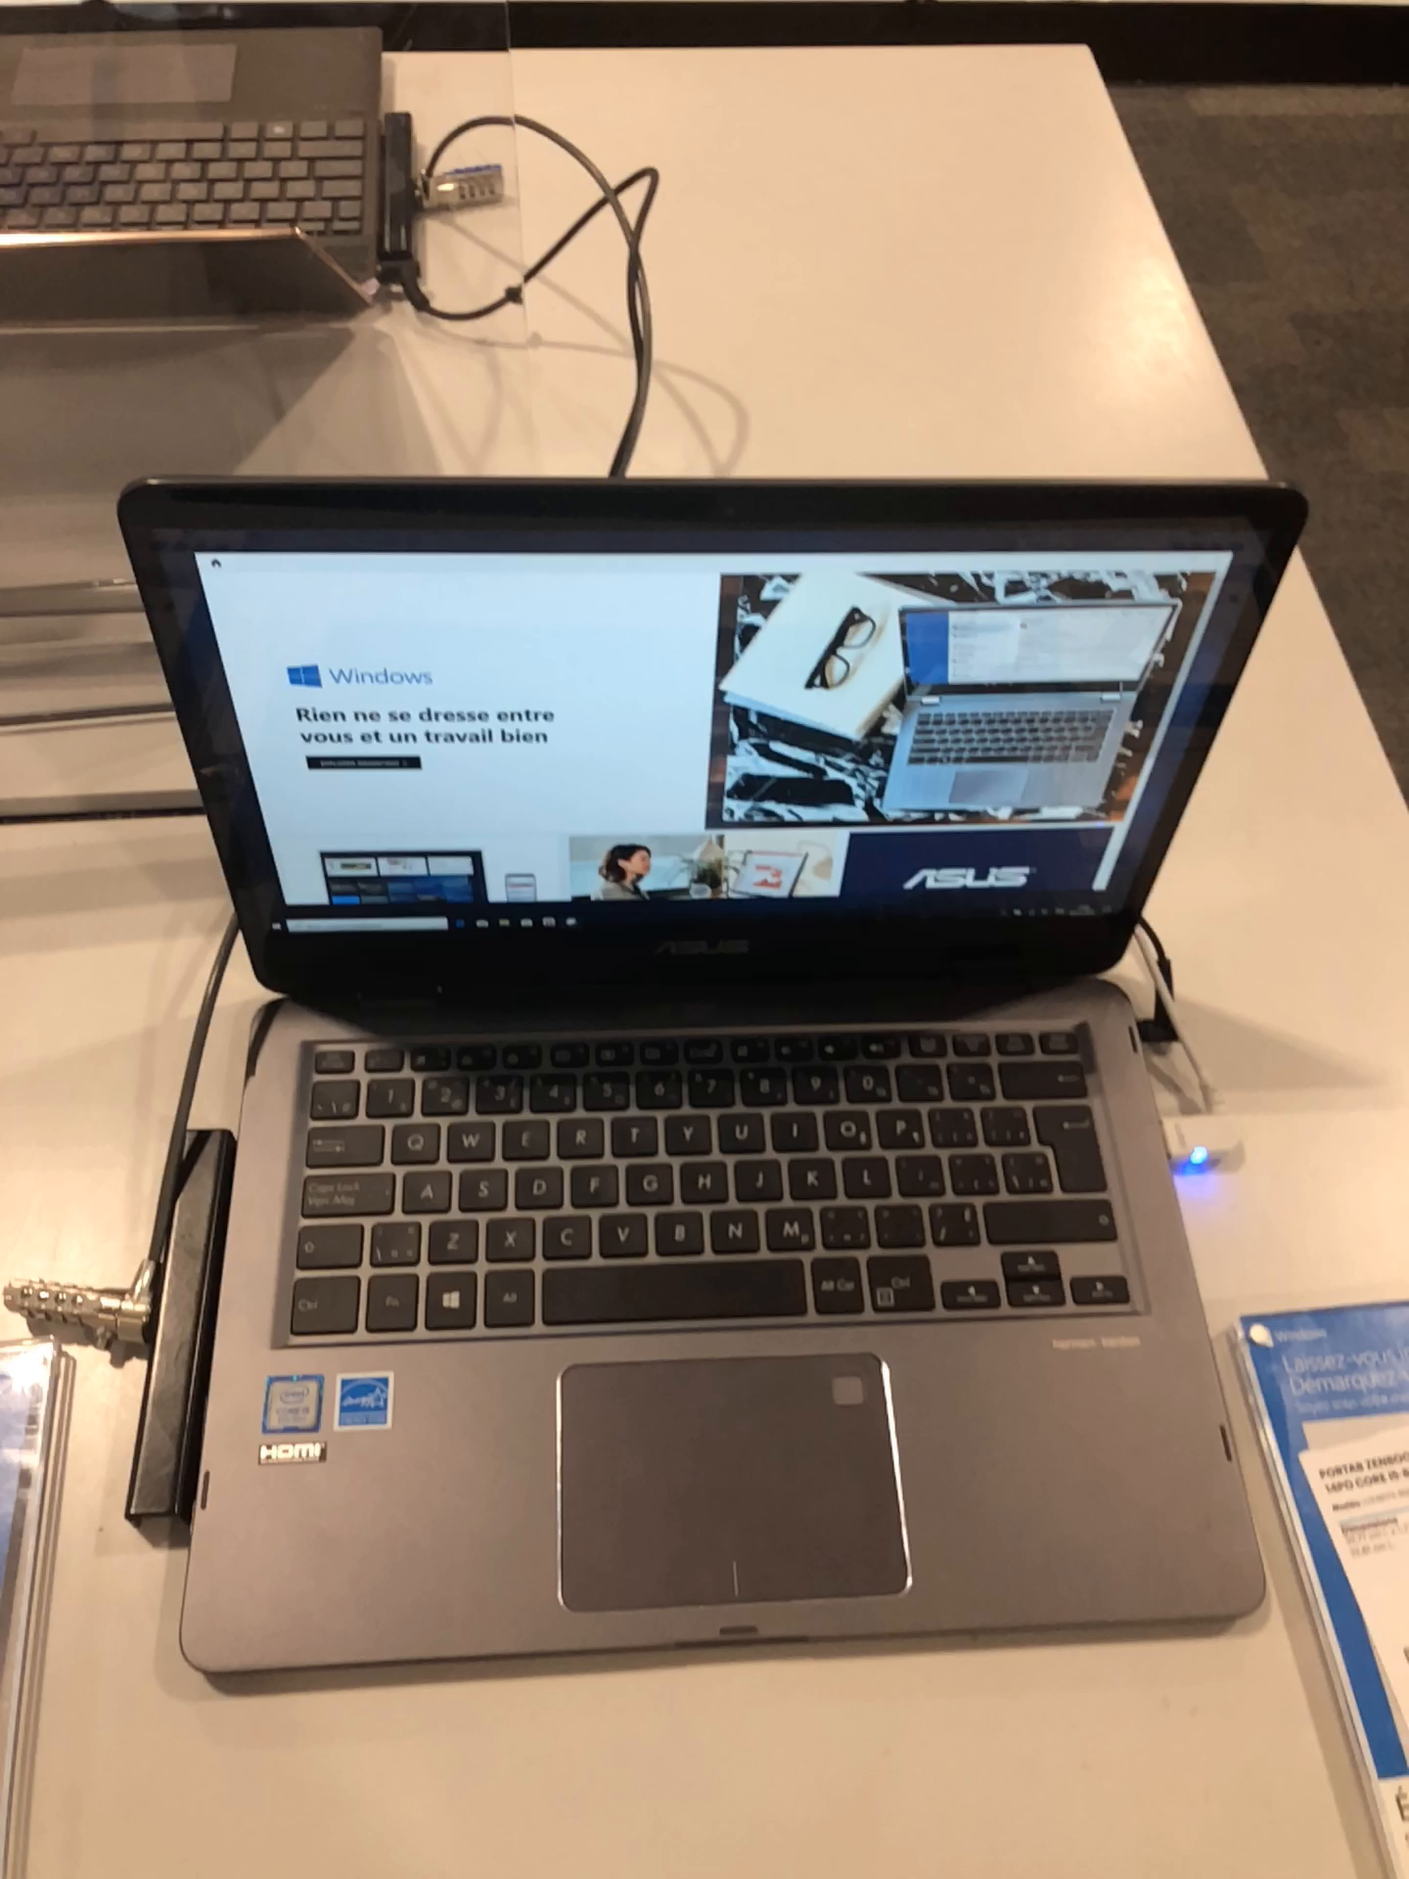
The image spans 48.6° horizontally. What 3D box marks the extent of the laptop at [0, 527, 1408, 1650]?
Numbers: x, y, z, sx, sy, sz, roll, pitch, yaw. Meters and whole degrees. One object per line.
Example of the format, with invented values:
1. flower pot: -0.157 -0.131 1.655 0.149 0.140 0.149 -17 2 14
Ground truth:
1. laptop: 0.007 0.047 0.420 0.302 0.217 0.225 -1 55 -3
